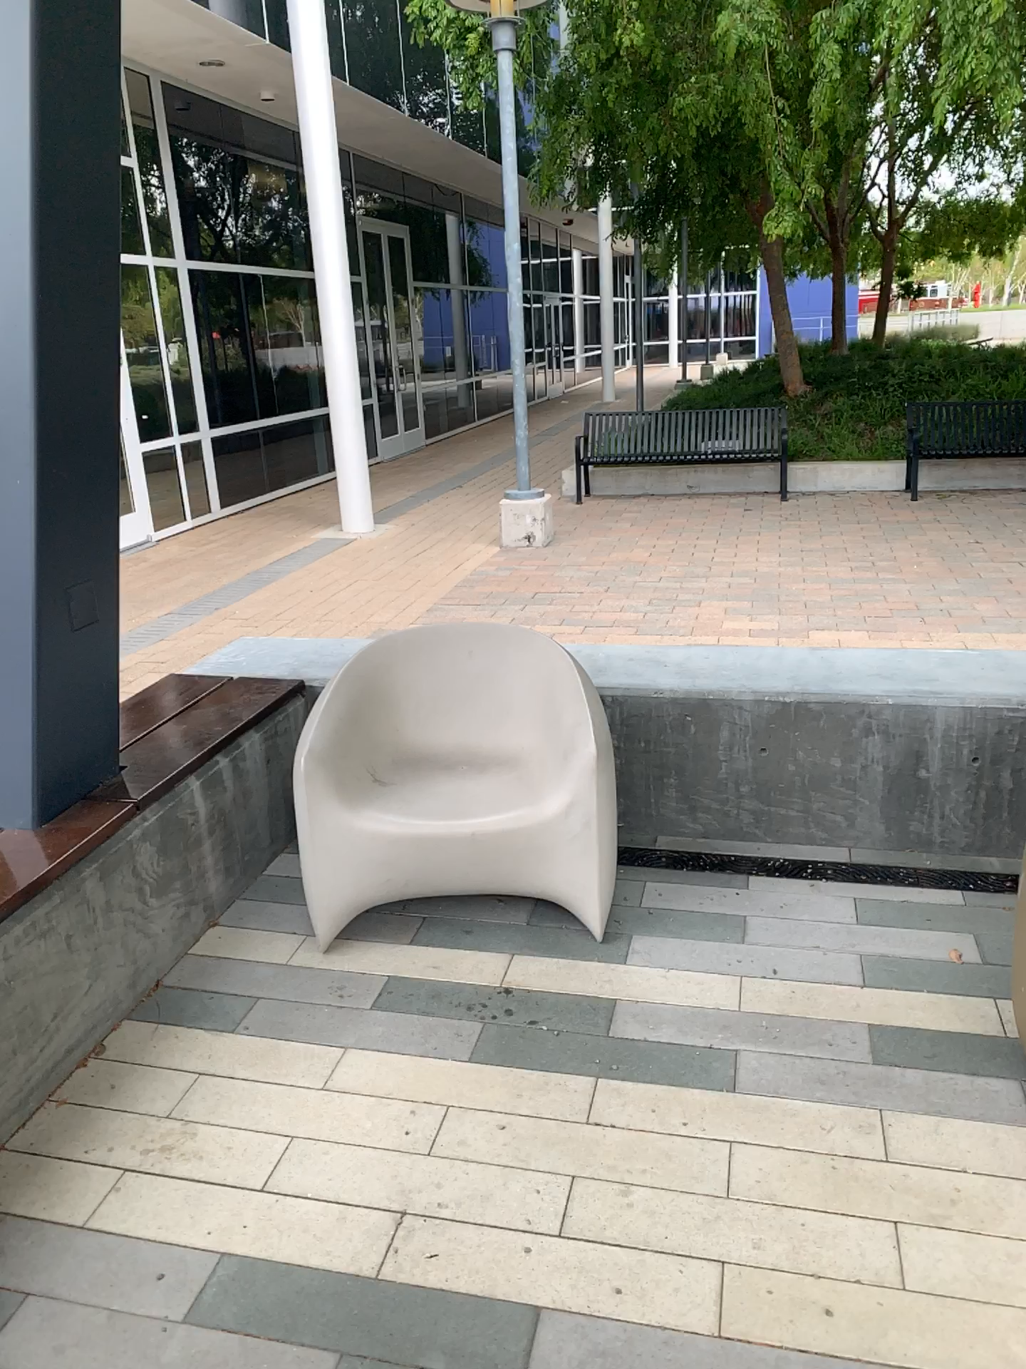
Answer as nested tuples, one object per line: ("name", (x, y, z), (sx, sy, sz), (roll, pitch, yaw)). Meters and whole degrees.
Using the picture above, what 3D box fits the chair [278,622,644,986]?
("chair", (-0.131, 0.334, 3.370), (0.980, 0.786, 0.925), (-2, 21, 0))
